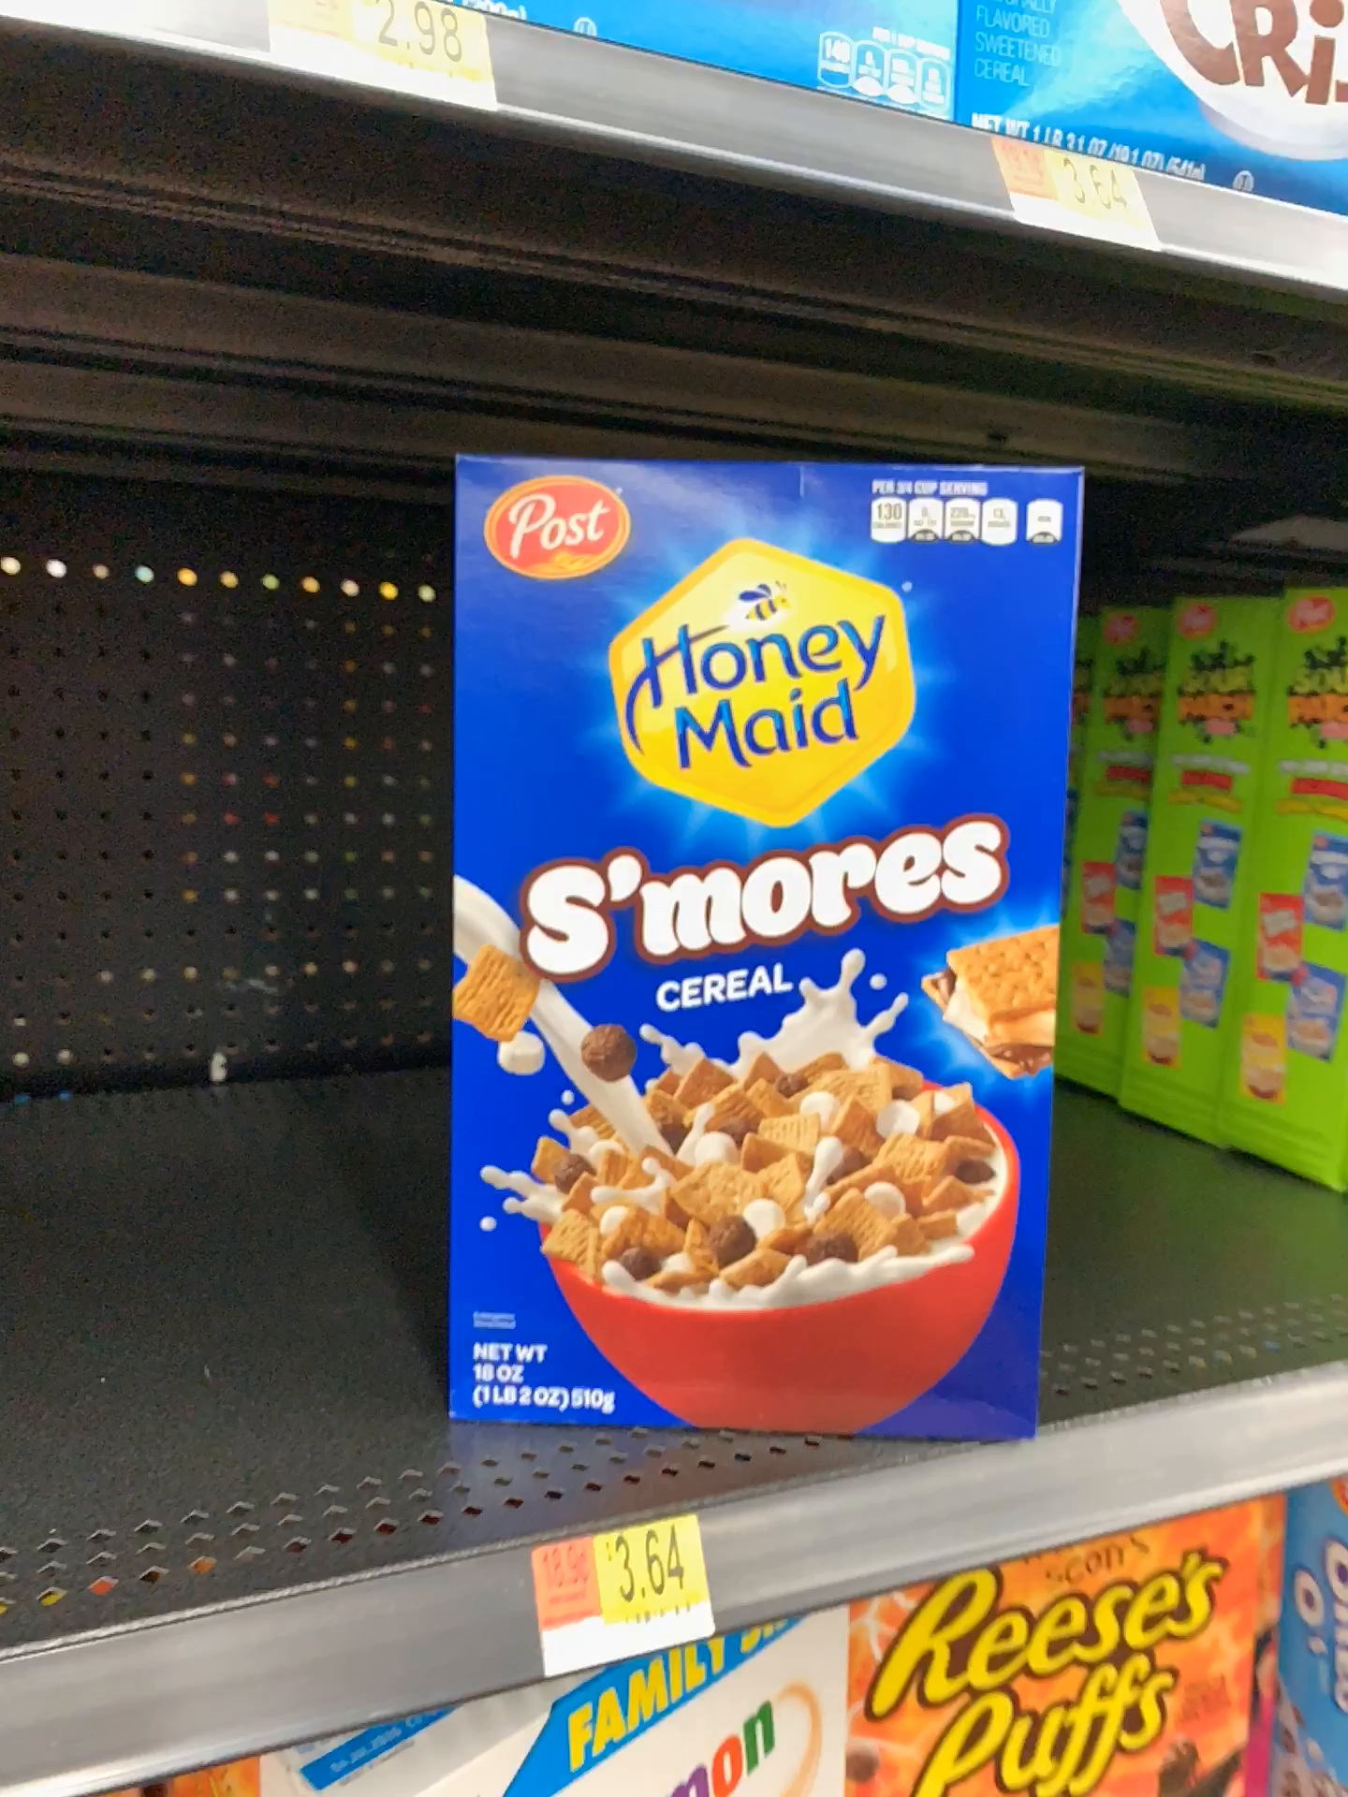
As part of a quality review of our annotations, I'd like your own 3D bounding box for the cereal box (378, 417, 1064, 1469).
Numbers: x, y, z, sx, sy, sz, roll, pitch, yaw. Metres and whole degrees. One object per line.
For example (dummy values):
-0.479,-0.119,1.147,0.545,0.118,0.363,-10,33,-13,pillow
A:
0.012,0.015,0.467,0.200,0.320,0.070,2,5,1,cereal box
